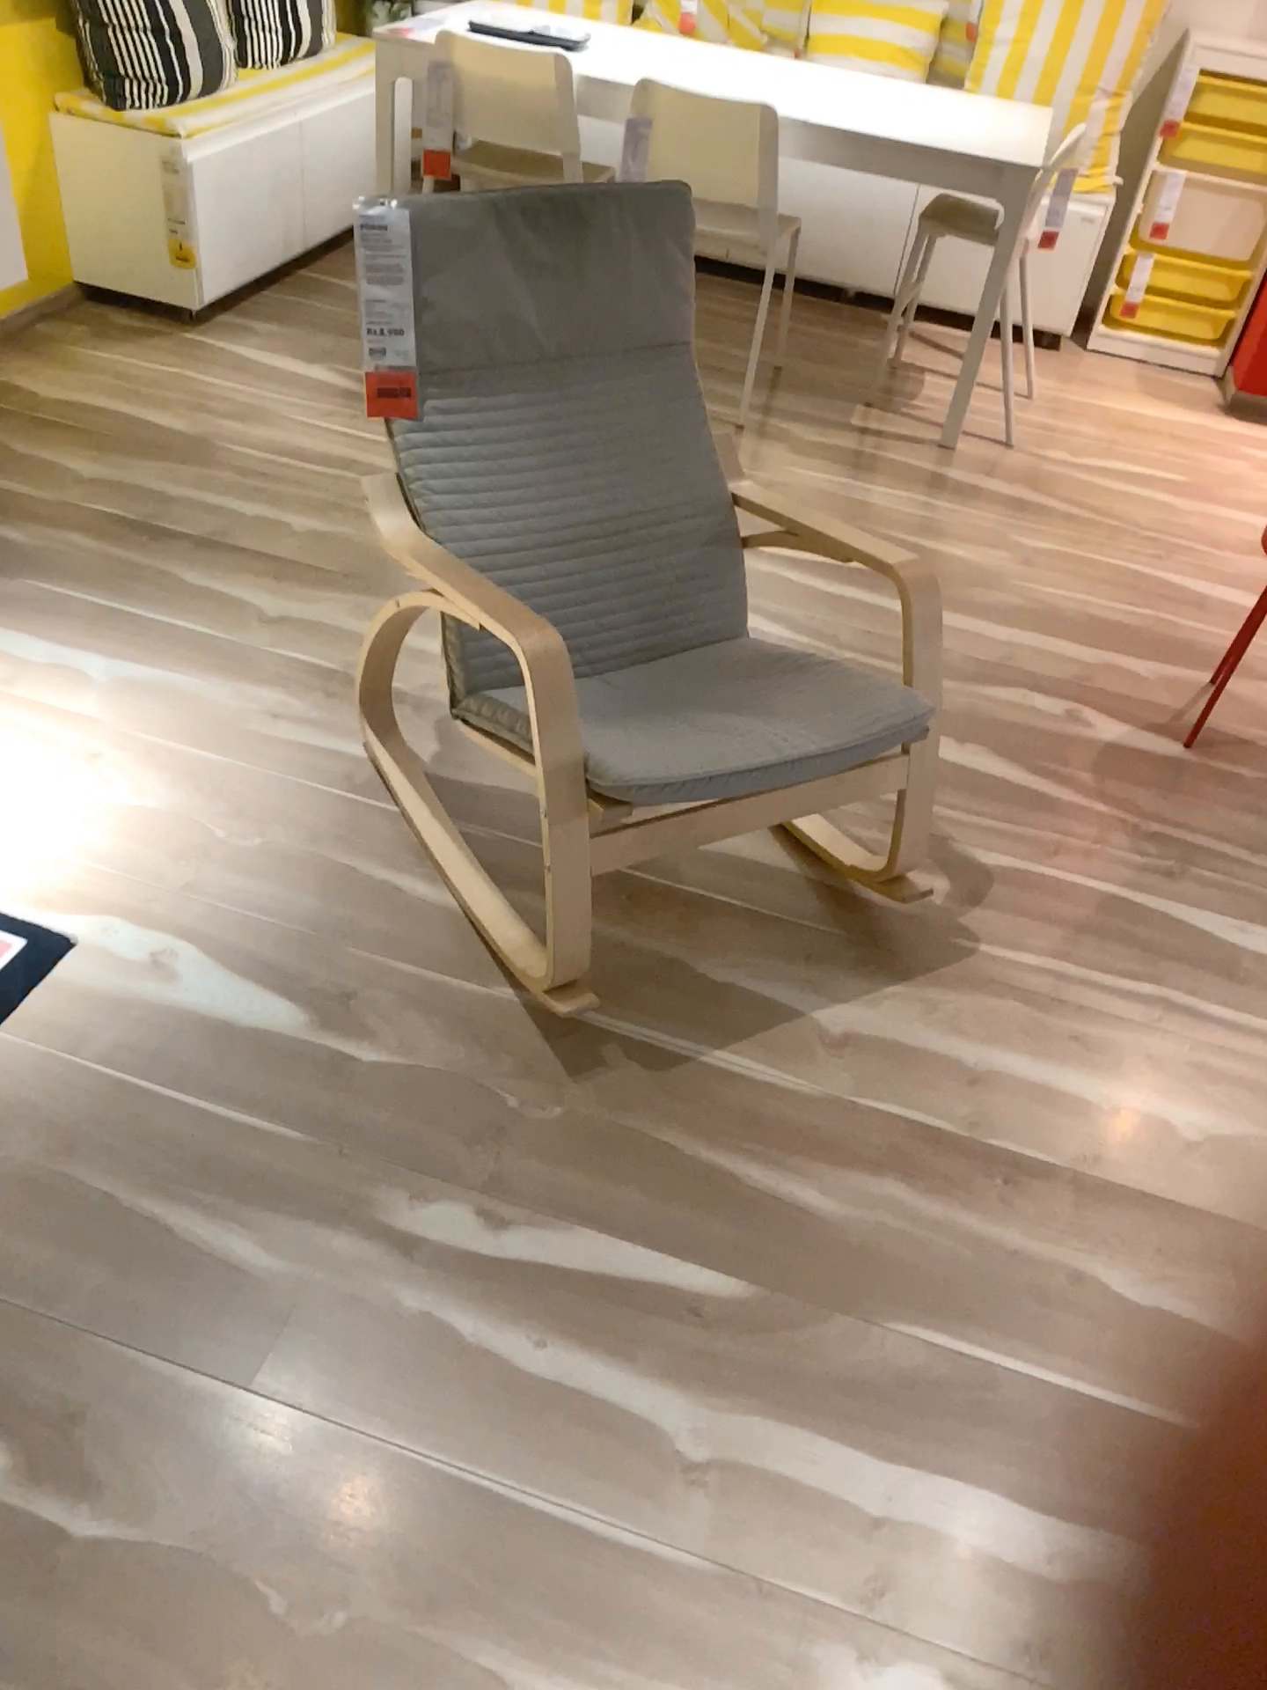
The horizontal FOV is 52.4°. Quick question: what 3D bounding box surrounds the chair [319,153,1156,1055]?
[{"bbox_3d":[0.047,-0.372,1.824,0.731,0.916,0.722,-16,46,-27],"label":"chair"}]
